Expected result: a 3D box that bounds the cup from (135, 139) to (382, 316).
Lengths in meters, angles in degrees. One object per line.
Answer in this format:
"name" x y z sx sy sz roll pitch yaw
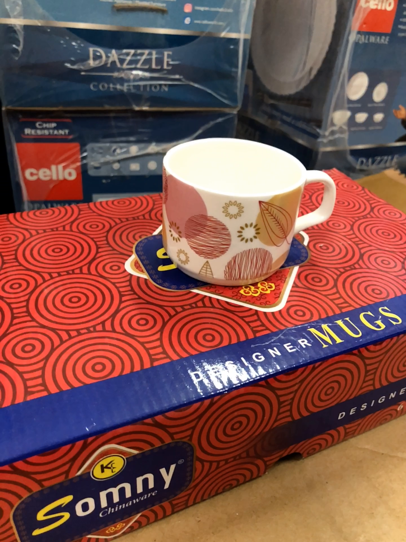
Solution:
"cup" 0.020 -0.027 0.219 0.090 0.050 0.070 -8 35 -20
